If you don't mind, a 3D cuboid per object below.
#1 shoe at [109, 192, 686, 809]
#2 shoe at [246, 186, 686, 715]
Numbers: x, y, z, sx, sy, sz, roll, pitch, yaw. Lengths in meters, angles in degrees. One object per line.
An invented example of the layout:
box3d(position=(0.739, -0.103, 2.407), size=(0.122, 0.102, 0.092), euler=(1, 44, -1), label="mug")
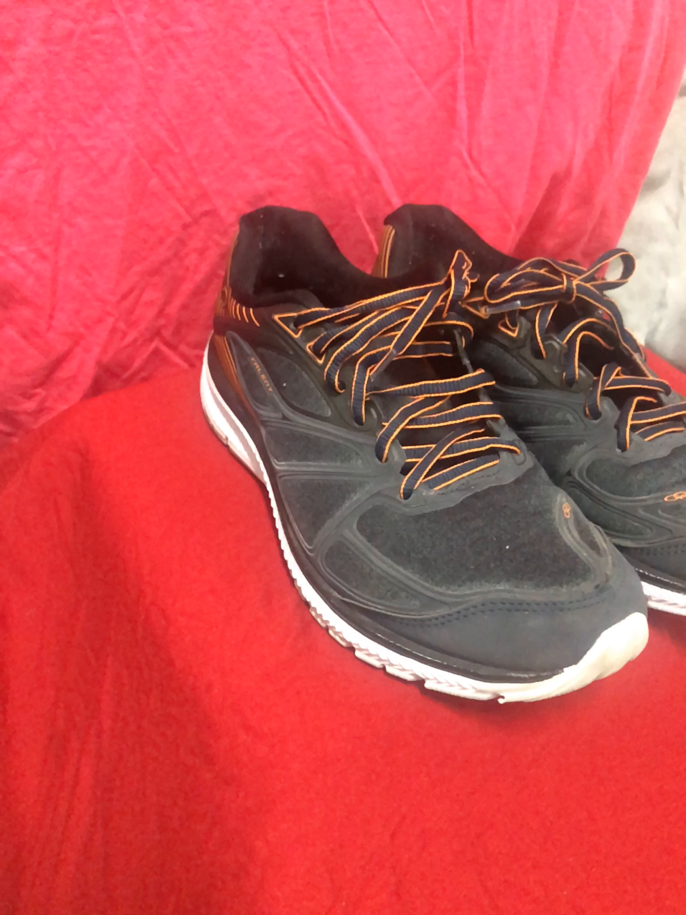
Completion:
box3d(position=(-0.003, -0.020, 0.325), size=(0.110, 0.089, 0.282), euler=(-16, 41, -23), label="shoe")
box3d(position=(0.073, -0.034, 0.369), size=(0.110, 0.099, 0.282), euler=(-22, 43, -29), label="shoe")
